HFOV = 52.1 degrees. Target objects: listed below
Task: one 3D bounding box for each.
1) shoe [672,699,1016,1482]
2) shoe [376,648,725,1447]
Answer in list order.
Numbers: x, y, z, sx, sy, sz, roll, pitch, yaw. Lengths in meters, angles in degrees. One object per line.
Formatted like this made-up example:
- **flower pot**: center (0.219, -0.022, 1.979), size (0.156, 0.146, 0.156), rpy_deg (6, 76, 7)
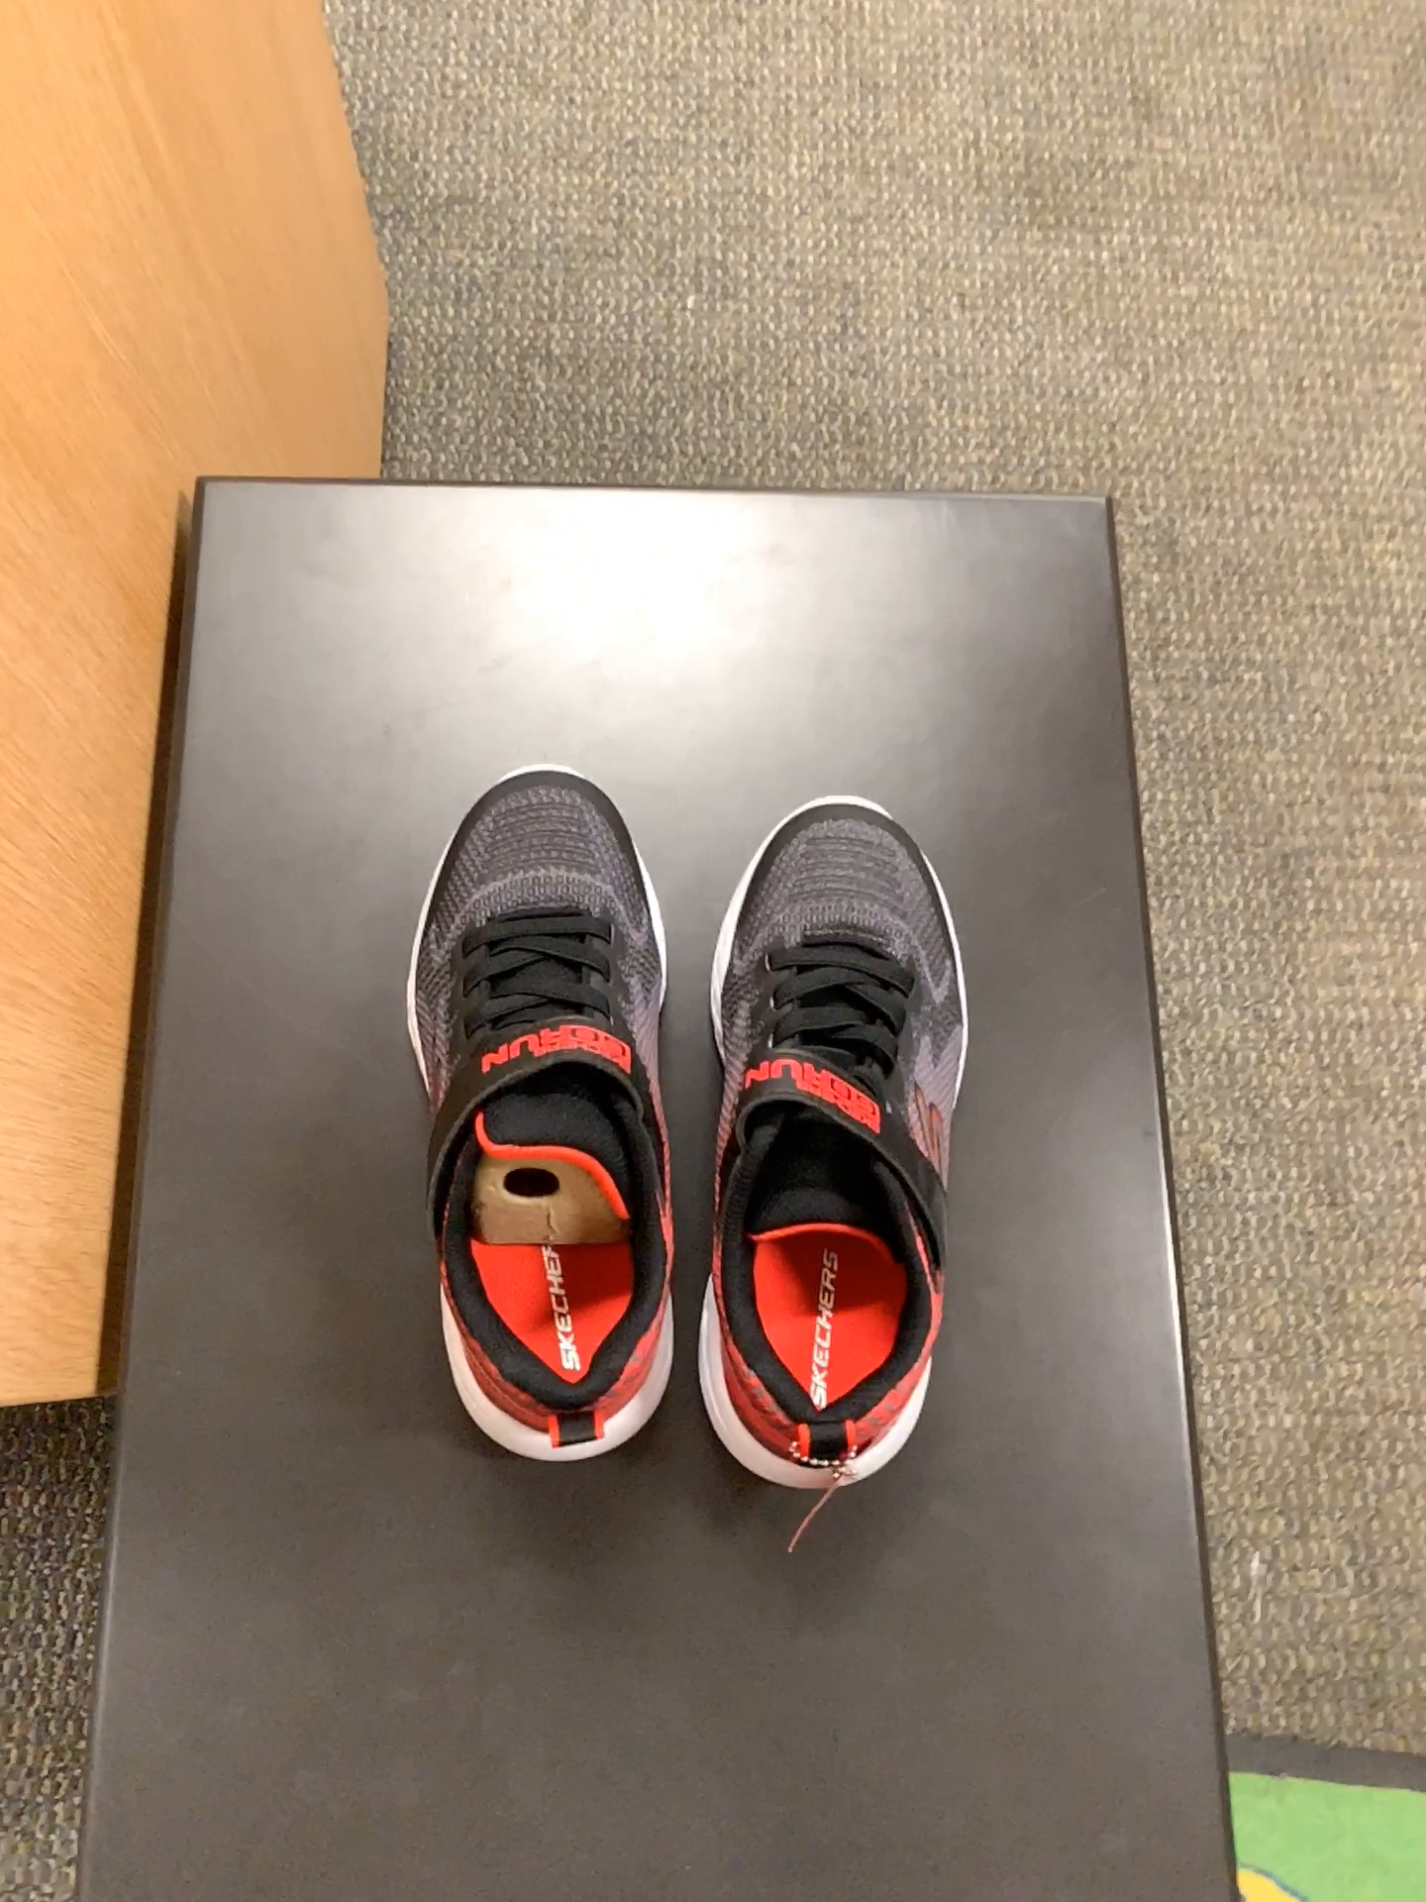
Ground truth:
- **shoe**: center (0.044, 0.046, 0.493), size (0.098, 0.080, 0.240), rpy_deg (4, 75, -2)
- **shoe**: center (-0.055, 0.030, 0.482), size (0.090, 0.080, 0.240), rpy_deg (-5, 75, -4)
